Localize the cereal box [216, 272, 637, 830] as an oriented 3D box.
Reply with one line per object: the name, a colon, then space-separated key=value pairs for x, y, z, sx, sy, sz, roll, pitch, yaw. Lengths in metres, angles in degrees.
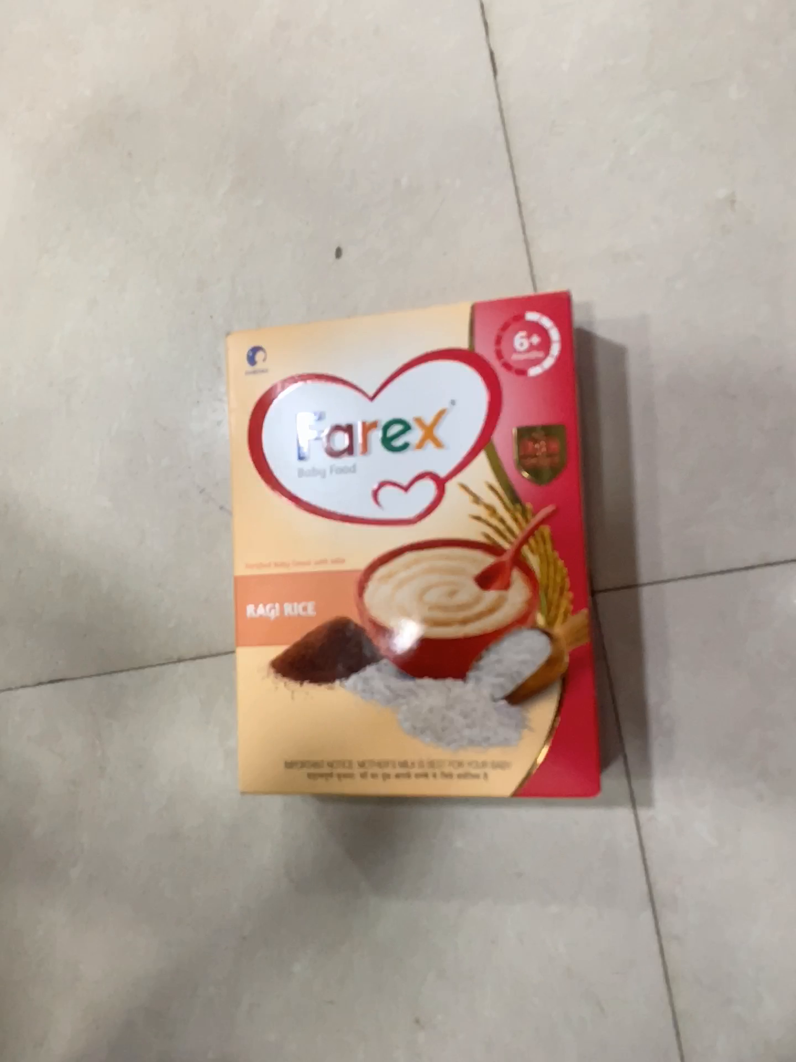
cereal box: x=0.010 y=0.010 z=0.324 sx=0.150 sy=0.050 sz=0.200 roll=-3 pitch=87 yaw=8
